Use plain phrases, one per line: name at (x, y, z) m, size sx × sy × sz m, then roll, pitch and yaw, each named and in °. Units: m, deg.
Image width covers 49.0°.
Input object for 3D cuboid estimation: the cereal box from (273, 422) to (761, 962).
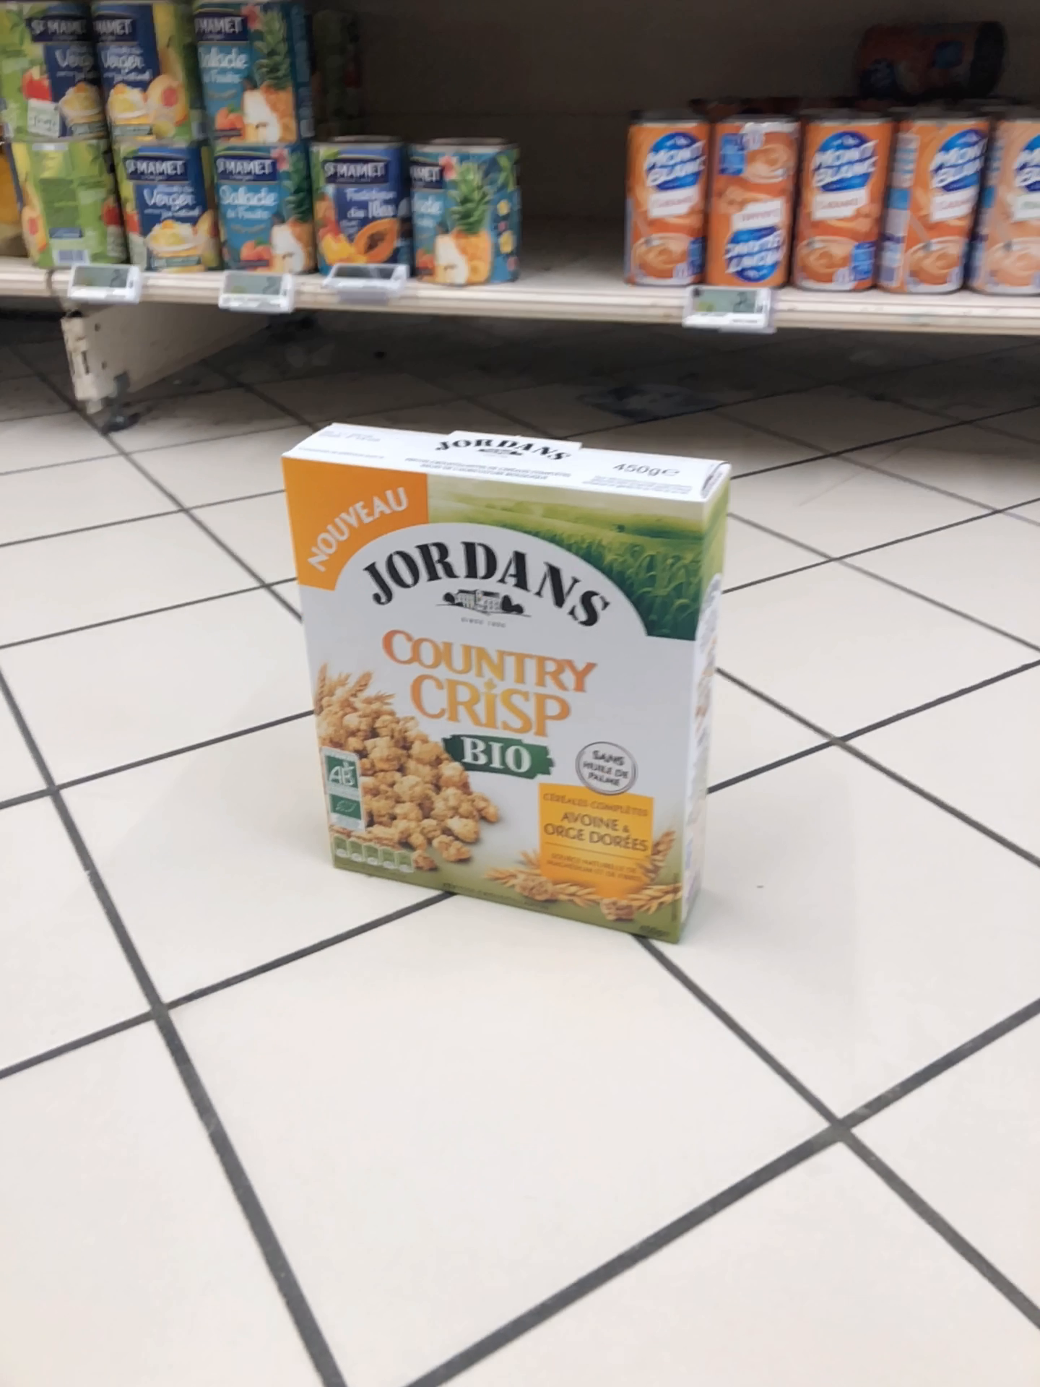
cereal box at (-0.002, -0.002, 0.514) m, size 0.190 × 0.209 × 0.060 m, roll 10°, pitch 30°, yaw 18°
